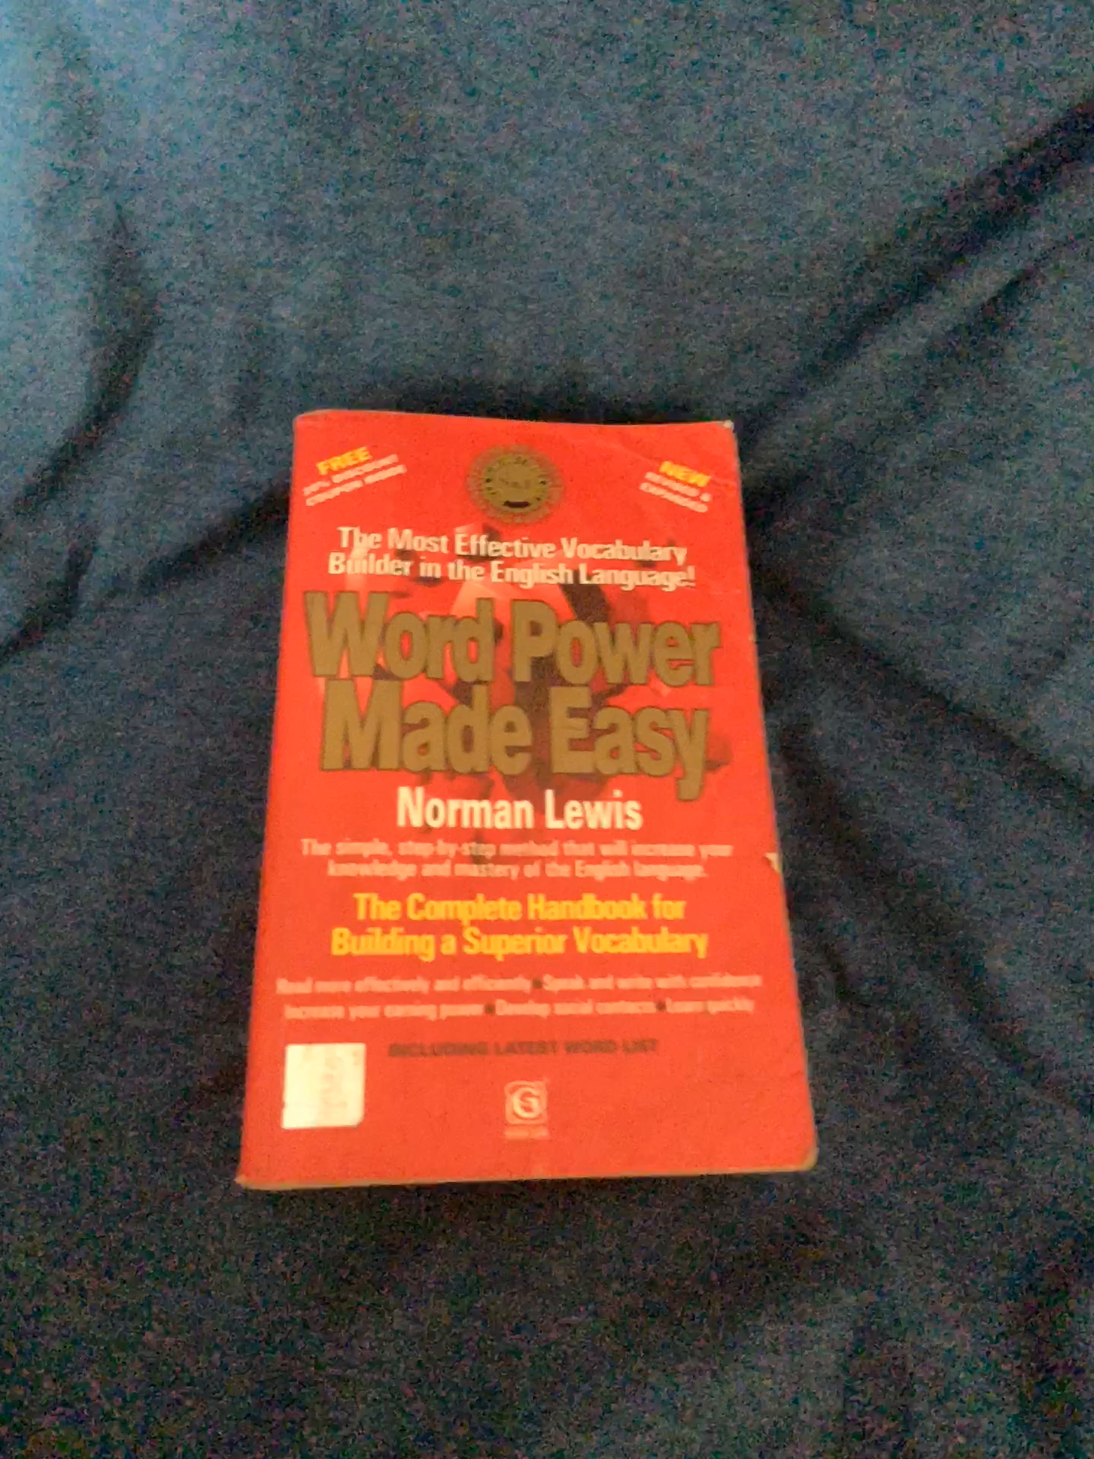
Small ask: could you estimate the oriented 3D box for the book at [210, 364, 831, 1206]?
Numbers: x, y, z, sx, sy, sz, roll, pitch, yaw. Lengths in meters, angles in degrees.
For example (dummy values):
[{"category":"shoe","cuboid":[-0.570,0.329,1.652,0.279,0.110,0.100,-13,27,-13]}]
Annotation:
[{"category":"book","cuboid":[-0.010,0.008,0.274,0.120,0.050,0.190,0,69,-8]}]
